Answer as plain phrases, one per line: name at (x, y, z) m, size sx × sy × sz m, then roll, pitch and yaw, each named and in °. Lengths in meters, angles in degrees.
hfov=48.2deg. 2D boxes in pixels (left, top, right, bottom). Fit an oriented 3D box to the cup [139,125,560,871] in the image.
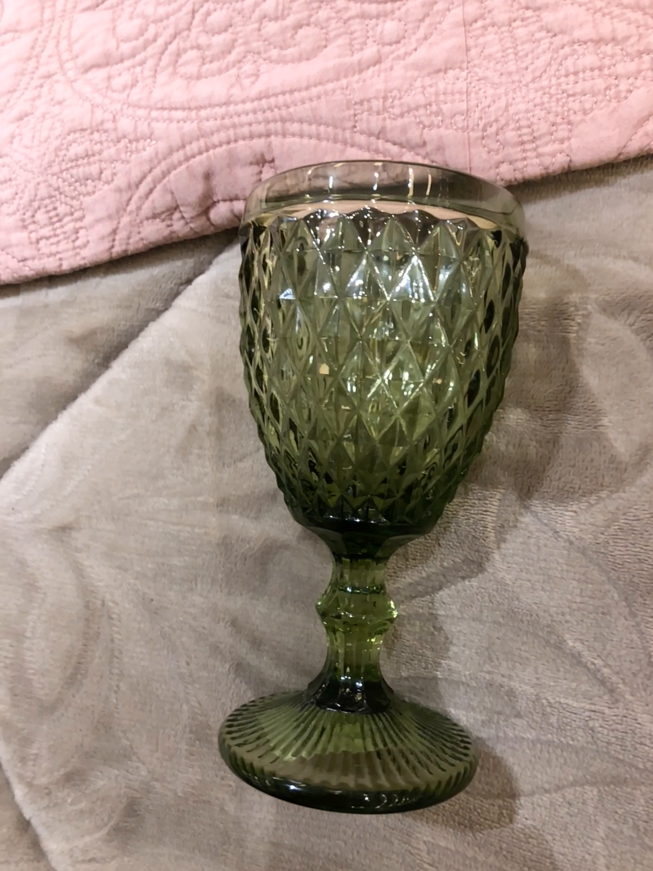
cup at (0.016, 0.021, 0.221) m, size 0.090 × 0.080 × 0.190 m, roll 4°, pitch 84°, yaw 20°
